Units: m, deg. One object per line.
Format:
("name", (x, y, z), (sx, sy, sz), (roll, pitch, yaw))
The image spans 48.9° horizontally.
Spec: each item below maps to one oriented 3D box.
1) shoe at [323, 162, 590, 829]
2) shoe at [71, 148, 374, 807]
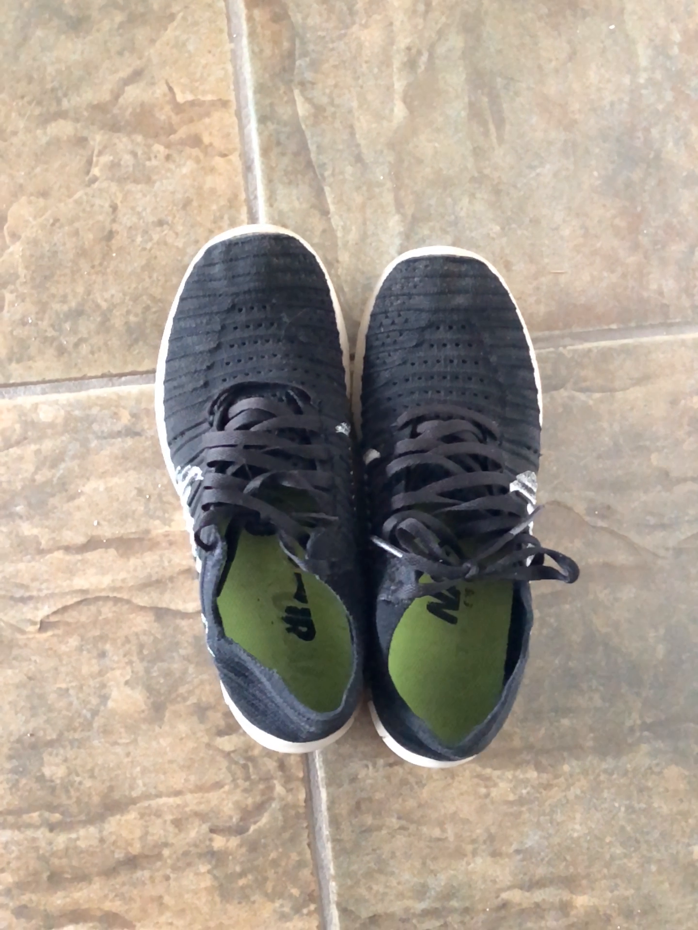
("shoe", (0.040, 0.011, 0.347), (0.100, 0.090, 0.260), (0, 85, -3))
("shoe", (-0.055, 0.003, 0.357), (0.100, 0.090, 0.260), (-5, 86, -4))
